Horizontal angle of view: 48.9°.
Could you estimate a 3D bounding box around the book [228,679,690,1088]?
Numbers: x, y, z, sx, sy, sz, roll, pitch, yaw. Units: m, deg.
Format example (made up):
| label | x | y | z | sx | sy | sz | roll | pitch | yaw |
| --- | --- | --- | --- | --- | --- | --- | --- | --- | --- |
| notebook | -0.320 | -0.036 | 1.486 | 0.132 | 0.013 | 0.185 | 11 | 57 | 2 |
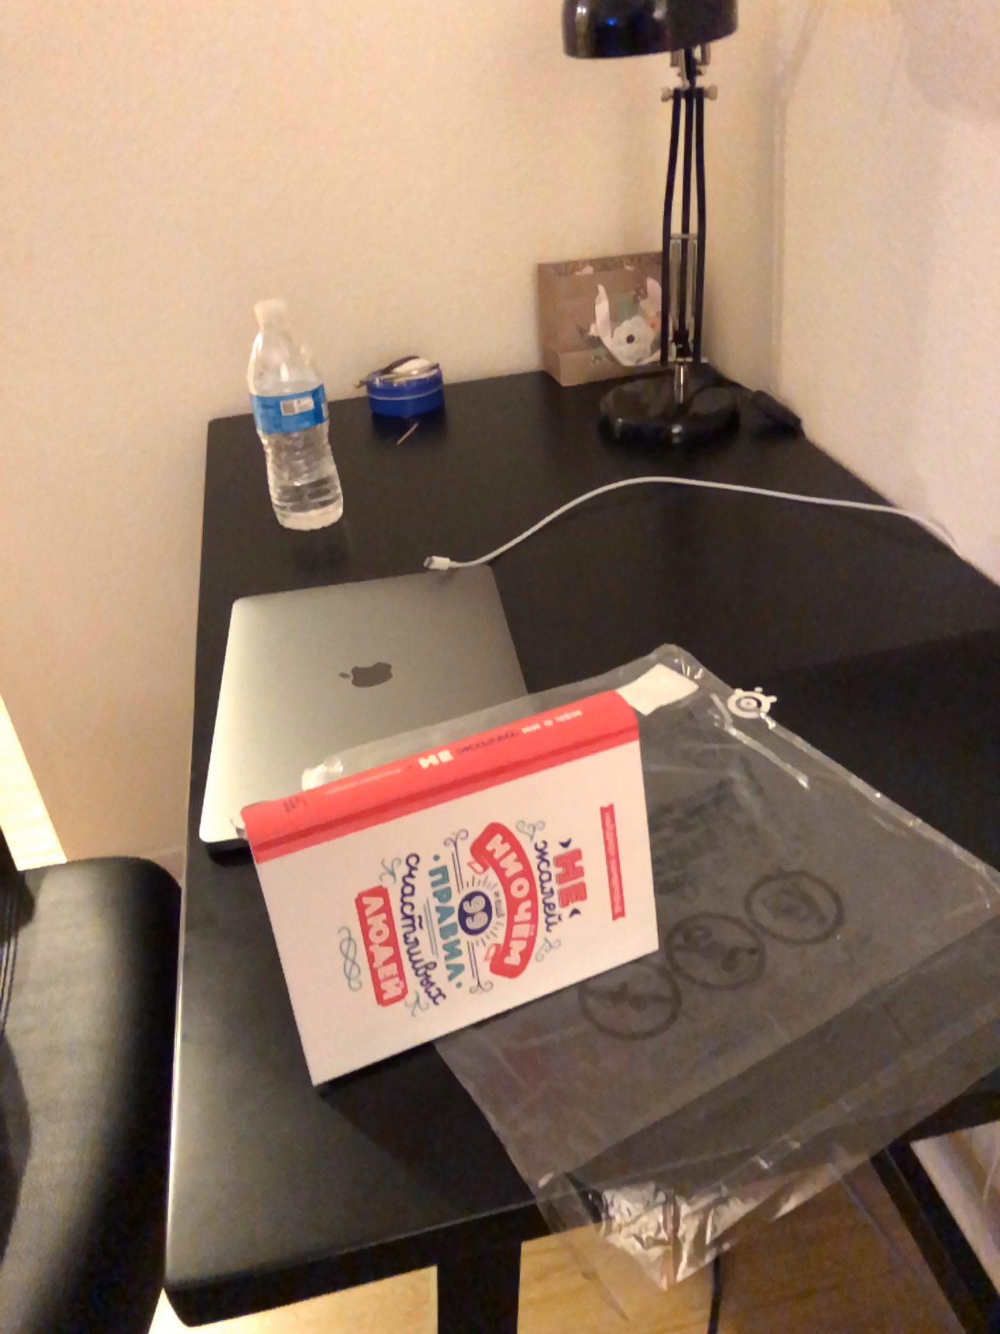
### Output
| label | x | y | z | sx | sy | sz | roll | pitch | yaw |
| --- | --- | --- | --- | --- | --- | --- | --- | --- | --- |
| book | -0.011 | 0.100 | 0.521 | 0.200 | 0.129 | 0.050 | -17 | 35 | -16 |
